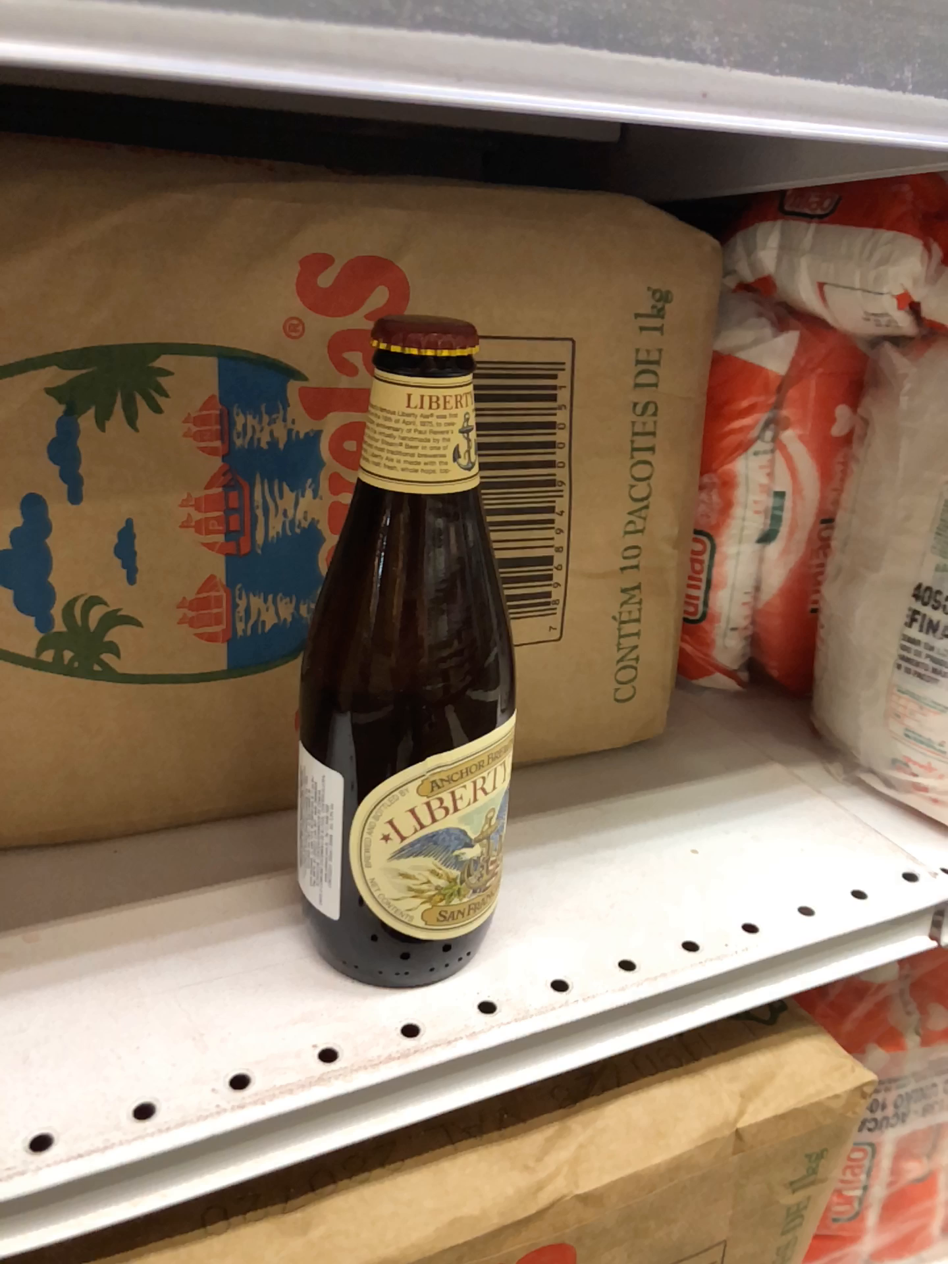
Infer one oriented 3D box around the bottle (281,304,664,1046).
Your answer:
[{"bbox_3d":[-0.005,0.008,0.304,0.070,0.189,0.070,3,22,-1],"label":"bottle"}]
